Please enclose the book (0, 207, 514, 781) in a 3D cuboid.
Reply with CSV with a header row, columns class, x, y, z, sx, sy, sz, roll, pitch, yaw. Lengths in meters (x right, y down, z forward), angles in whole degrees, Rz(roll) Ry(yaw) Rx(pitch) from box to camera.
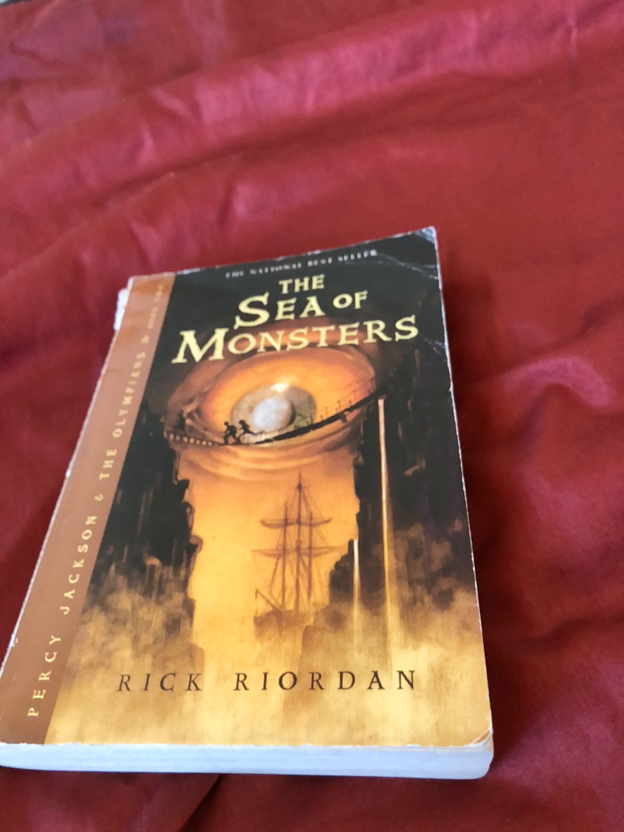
class,x,y,z,sx,sy,sz,roll,pitch,yaw
book,-0.018,0.010,0.238,0.144,0.030,0.197,-5,50,11
